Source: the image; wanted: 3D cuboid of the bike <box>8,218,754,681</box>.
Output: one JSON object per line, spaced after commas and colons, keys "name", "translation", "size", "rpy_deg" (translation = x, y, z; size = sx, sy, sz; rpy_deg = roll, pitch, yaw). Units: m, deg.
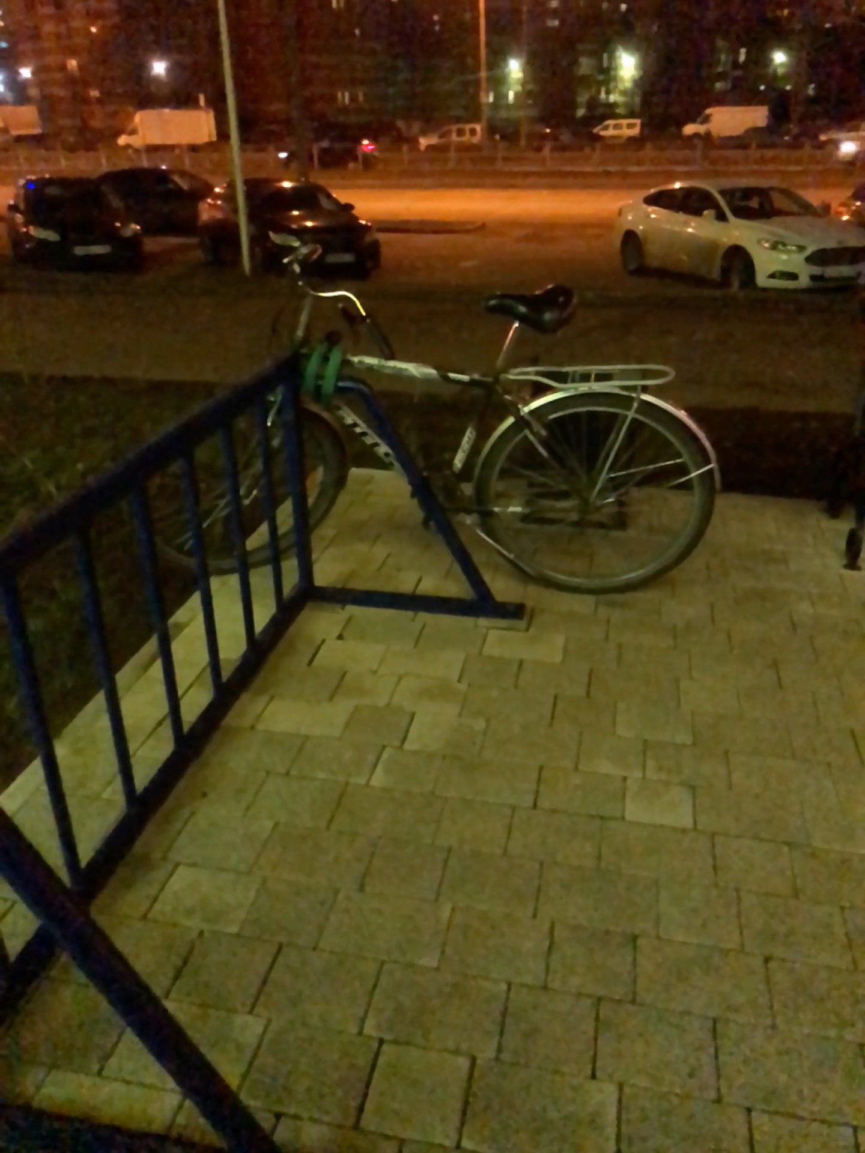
{"name": "bike", "translation": [-0.062, -0.383, 2.682], "size": [1.716, 1.046, 0.683], "rpy_deg": [3, 26, 1]}
